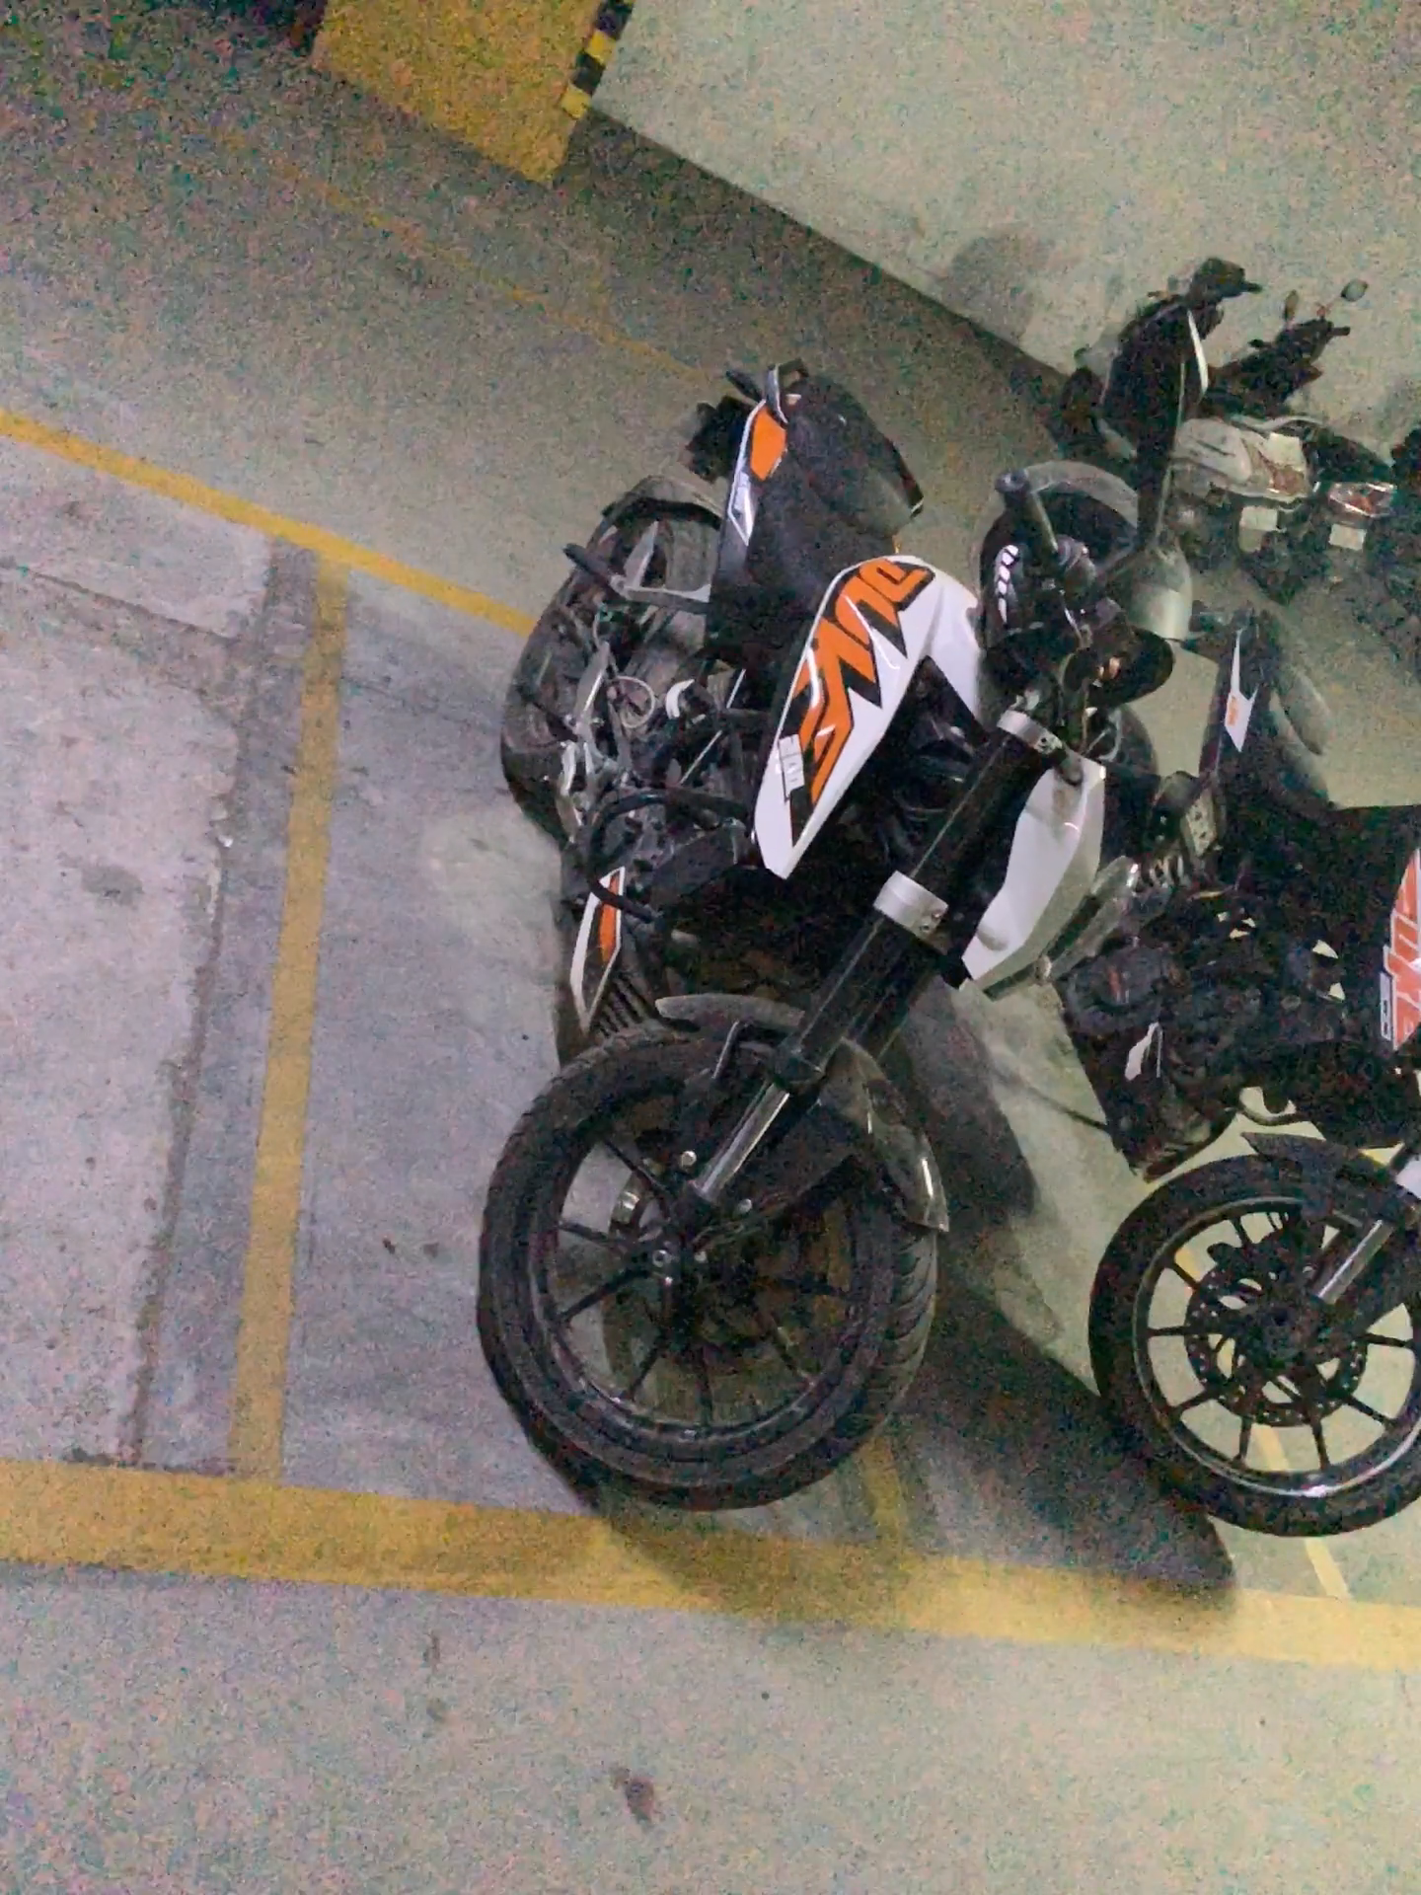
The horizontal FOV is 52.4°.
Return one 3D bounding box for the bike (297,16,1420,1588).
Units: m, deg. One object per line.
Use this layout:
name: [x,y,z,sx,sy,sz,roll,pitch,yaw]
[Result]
bike: [0.035,-0.289,2.220,0.804,1.181,1.919,17,42,-26]
